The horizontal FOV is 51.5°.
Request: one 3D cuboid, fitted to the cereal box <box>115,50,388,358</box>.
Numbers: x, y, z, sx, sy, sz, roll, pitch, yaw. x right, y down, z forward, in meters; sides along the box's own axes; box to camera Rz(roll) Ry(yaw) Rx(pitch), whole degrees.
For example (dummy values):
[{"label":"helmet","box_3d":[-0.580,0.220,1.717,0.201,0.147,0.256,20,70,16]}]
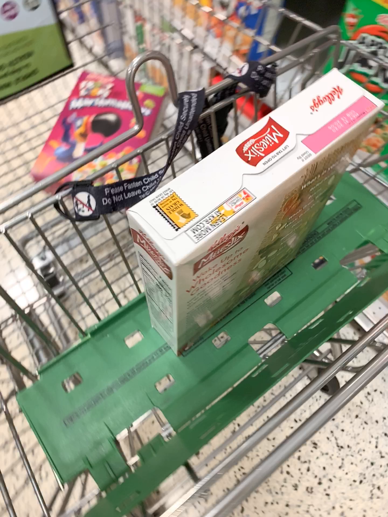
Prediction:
[{"label":"cereal box","box_3d":[0.042,-0.019,0.350,0.191,0.248,0.050,-36,71,-17]}]
